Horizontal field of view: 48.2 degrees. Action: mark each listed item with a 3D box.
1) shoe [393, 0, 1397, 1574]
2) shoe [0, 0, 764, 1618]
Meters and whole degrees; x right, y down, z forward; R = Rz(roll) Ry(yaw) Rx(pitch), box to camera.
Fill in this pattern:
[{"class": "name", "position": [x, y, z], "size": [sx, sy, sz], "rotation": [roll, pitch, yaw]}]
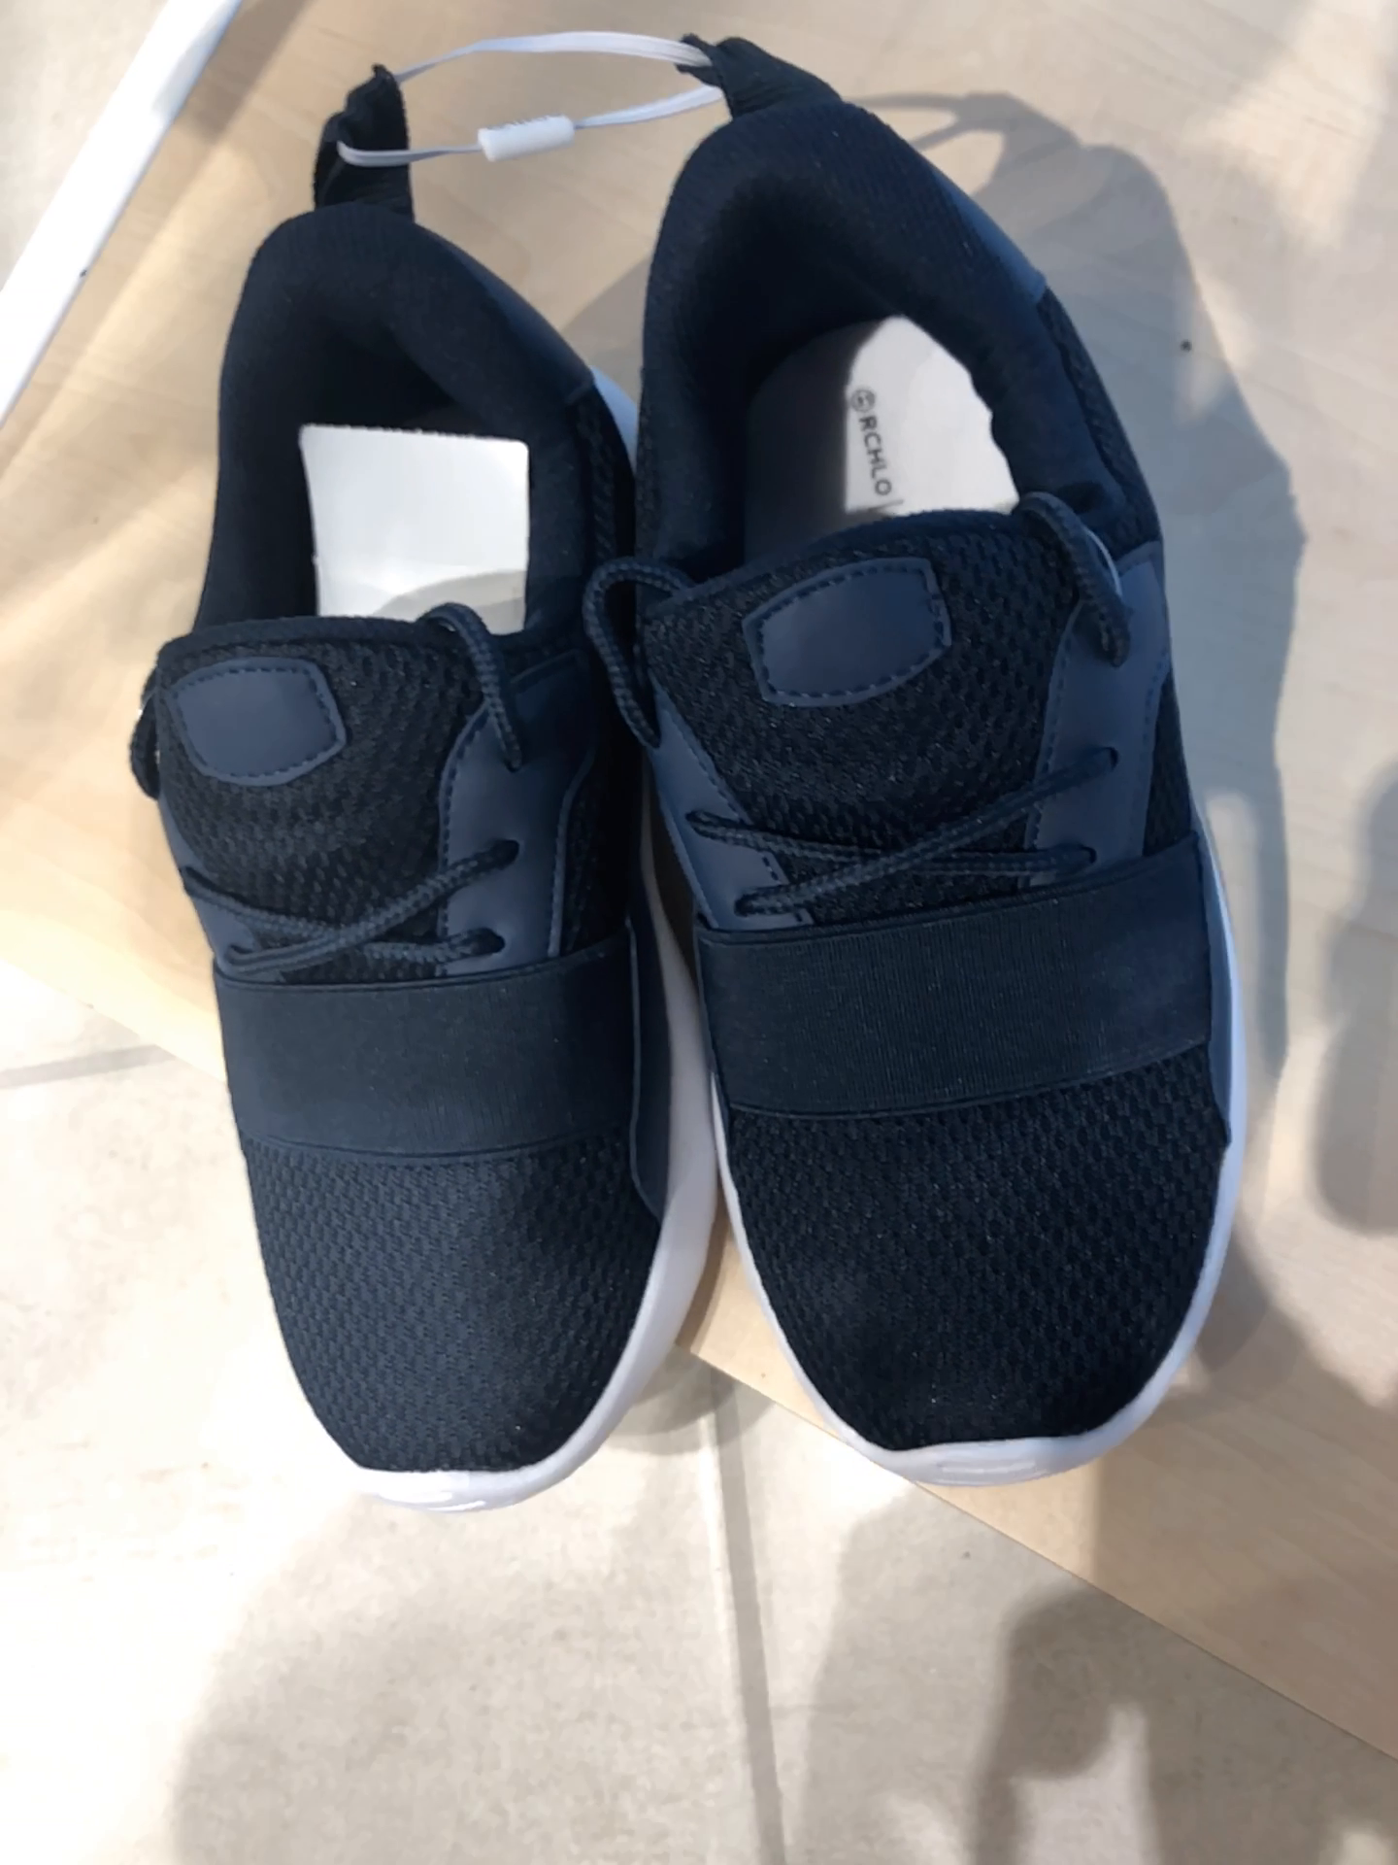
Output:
[{"class": "shoe", "position": [0.025, -0.037, 0.249], "size": [0.100, 0.100, 0.240], "rotation": [-10, 75, 14]}, {"class": "shoe", "position": [-0.045, -0.022, 0.273], "size": [0.090, 0.100, 0.240], "rotation": [-3, 76, 15]}]
